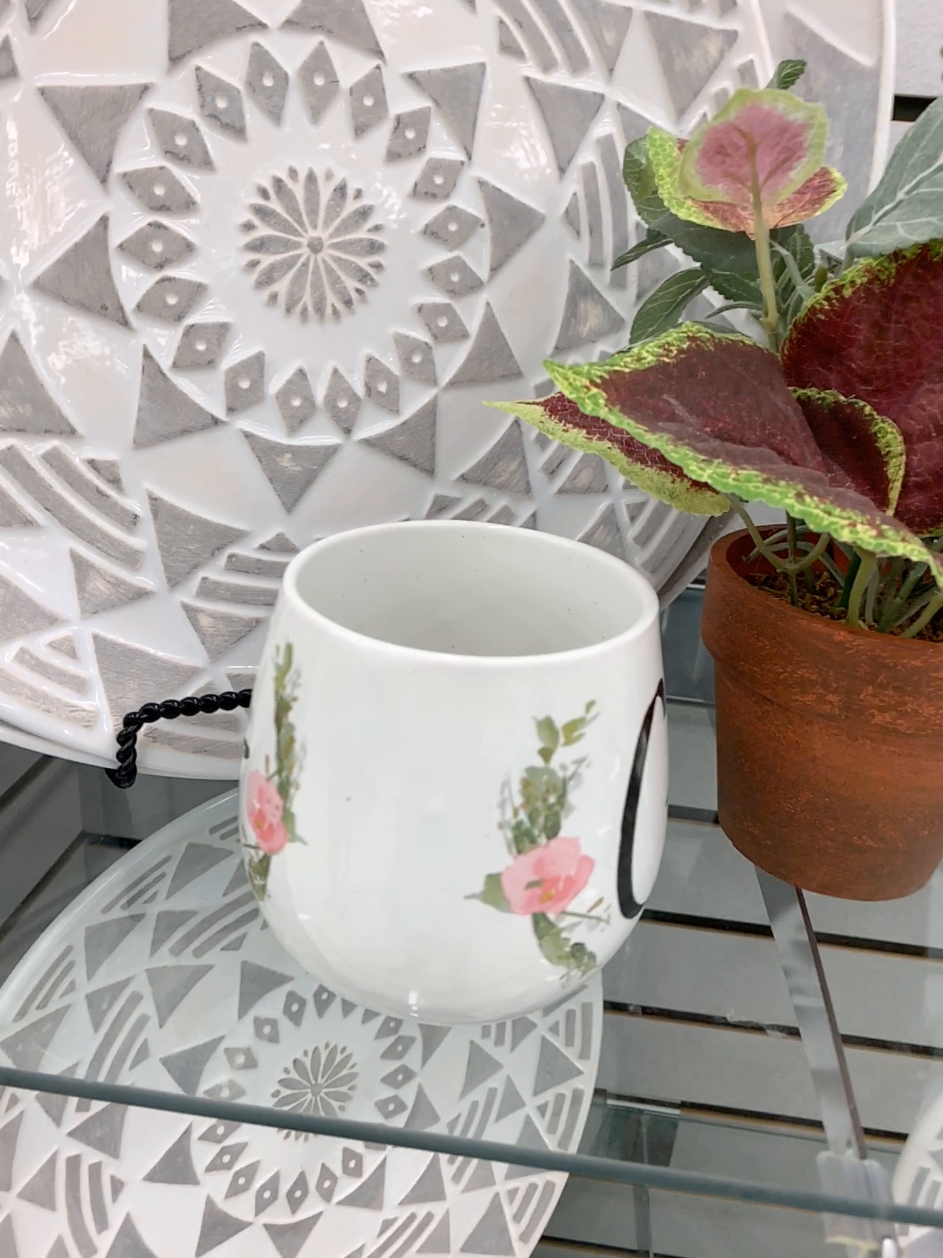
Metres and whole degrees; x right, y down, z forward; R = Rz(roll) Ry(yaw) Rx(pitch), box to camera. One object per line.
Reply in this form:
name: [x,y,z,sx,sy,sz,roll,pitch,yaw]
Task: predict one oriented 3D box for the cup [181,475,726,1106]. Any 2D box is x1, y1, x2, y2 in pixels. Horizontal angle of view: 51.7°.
cup: [0.001,0.025,0.229,0.089,0.090,0.100,12,23,17]
